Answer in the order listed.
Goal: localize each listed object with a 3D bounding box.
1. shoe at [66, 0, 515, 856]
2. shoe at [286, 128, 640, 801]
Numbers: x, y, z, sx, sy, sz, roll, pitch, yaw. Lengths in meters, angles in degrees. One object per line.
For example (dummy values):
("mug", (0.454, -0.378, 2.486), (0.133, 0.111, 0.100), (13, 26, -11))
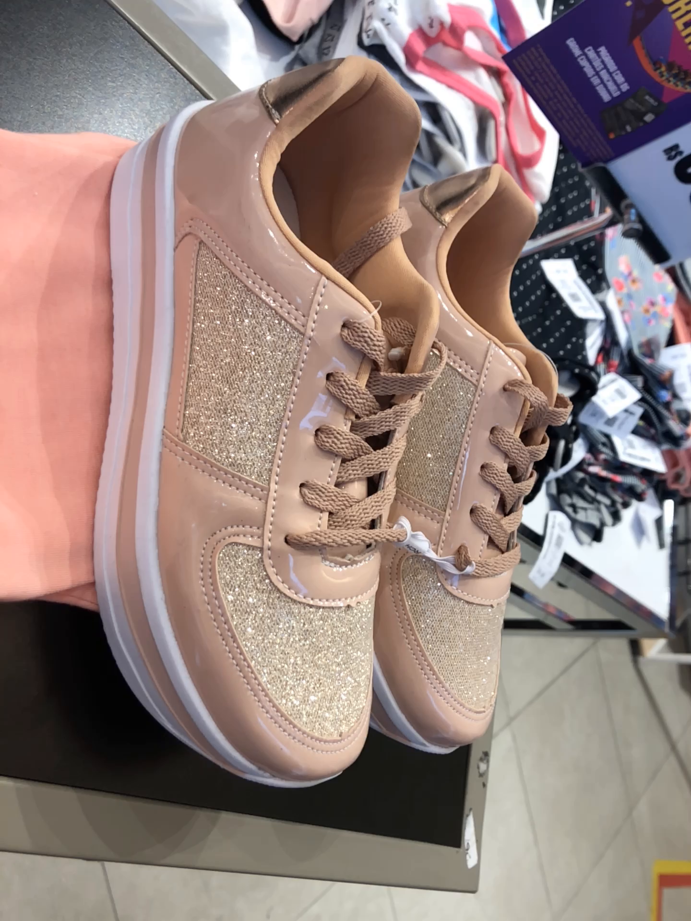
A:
("shoe", (-0.021, -0.012, 0.252), (0.091, 0.099, 0.220), (4, 79, -48))
("shoe", (0.046, 0.003, 0.312), (0.091, 0.089, 0.220), (4, 79, -48))
